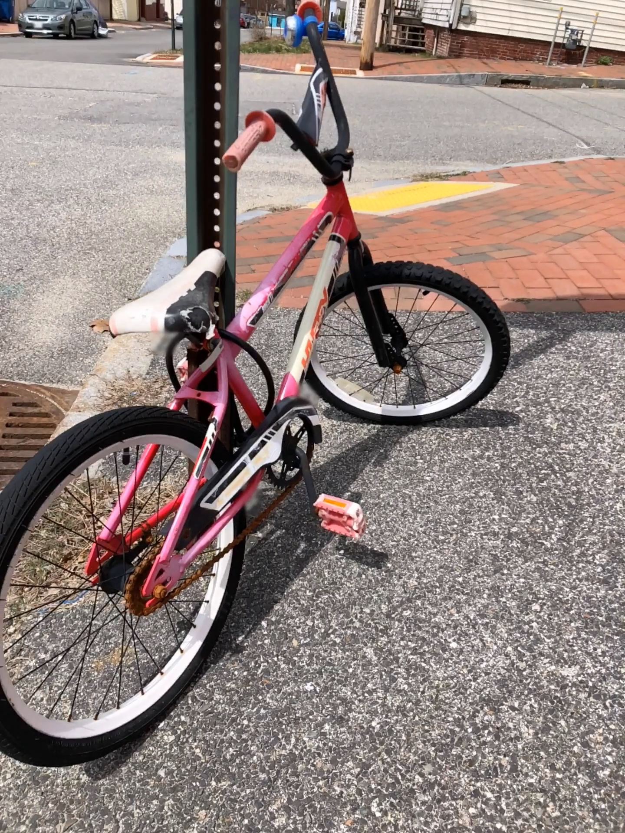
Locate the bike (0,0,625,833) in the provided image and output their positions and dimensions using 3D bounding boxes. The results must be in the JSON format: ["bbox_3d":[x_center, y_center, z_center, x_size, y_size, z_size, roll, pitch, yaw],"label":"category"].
[{"bbox_3d":[0.008,-0.151,1.021,0.696,0.887,1.183,26,38,28],"label":"bike"}]
